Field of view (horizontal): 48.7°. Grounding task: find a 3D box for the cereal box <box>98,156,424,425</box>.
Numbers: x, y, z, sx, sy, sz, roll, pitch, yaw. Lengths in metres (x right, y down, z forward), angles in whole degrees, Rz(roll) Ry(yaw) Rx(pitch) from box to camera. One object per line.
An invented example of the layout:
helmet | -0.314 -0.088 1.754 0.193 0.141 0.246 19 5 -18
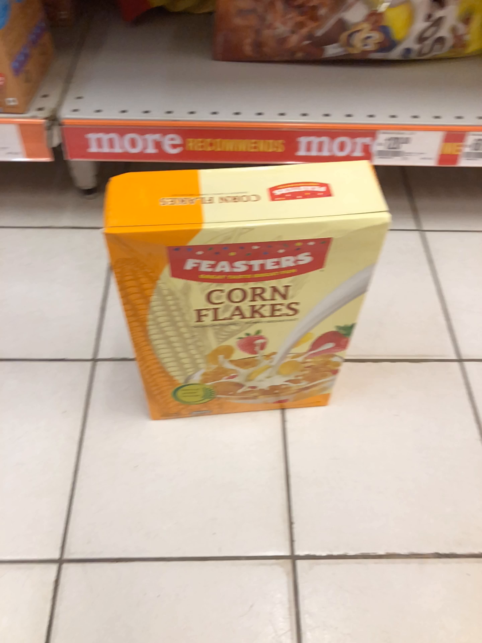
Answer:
cereal box | 0.010 -0.005 0.427 0.190 0.249 0.060 -4 54 -3
